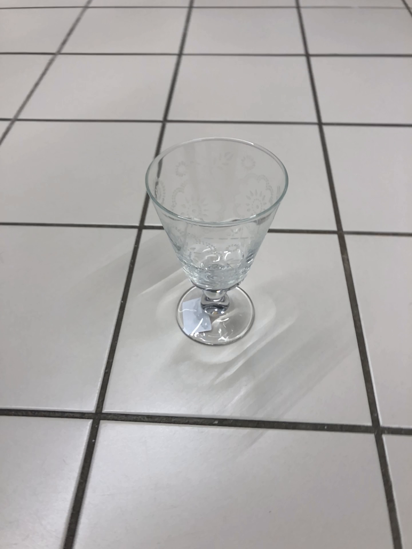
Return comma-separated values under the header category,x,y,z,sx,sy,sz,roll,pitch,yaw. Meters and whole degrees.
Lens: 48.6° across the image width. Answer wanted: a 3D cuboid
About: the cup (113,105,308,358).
category,x,y,z,sx,sy,sz,roll,pitch,yaw
cup,0.009,-0.027,0.326,0.095,0.138,0.095,-1,49,1
